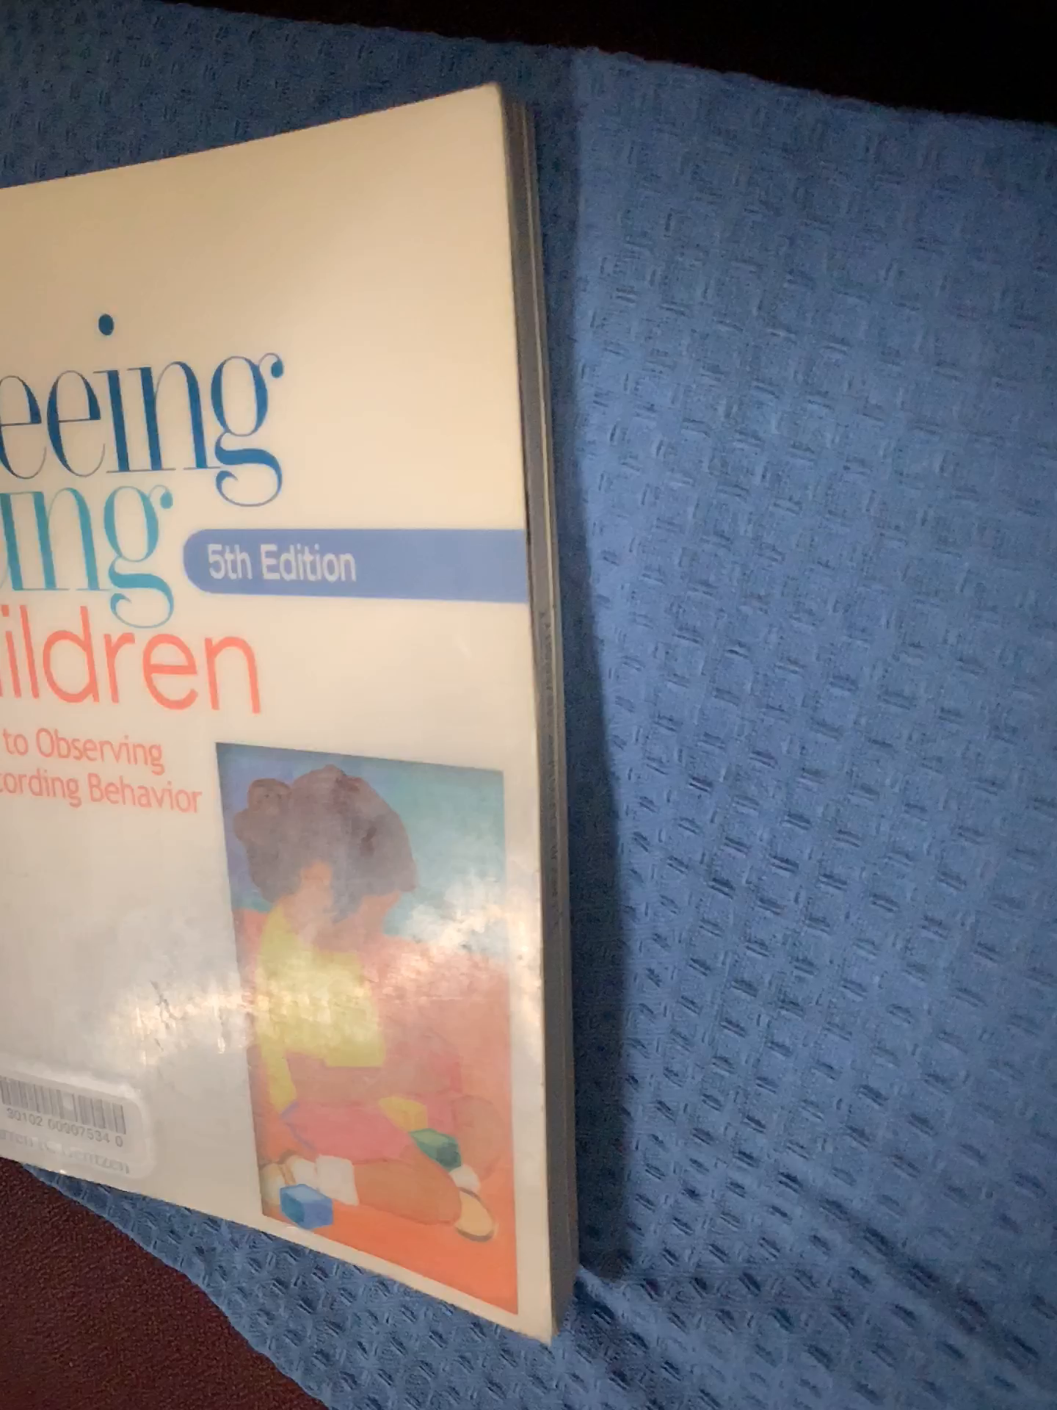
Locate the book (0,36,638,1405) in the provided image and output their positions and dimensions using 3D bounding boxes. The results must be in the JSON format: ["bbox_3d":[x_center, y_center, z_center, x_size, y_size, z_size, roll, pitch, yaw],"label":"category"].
[{"bbox_3d":[-0.081,0.015,0.244,0.201,0.030,0.250,3,107,24],"label":"book"}]
